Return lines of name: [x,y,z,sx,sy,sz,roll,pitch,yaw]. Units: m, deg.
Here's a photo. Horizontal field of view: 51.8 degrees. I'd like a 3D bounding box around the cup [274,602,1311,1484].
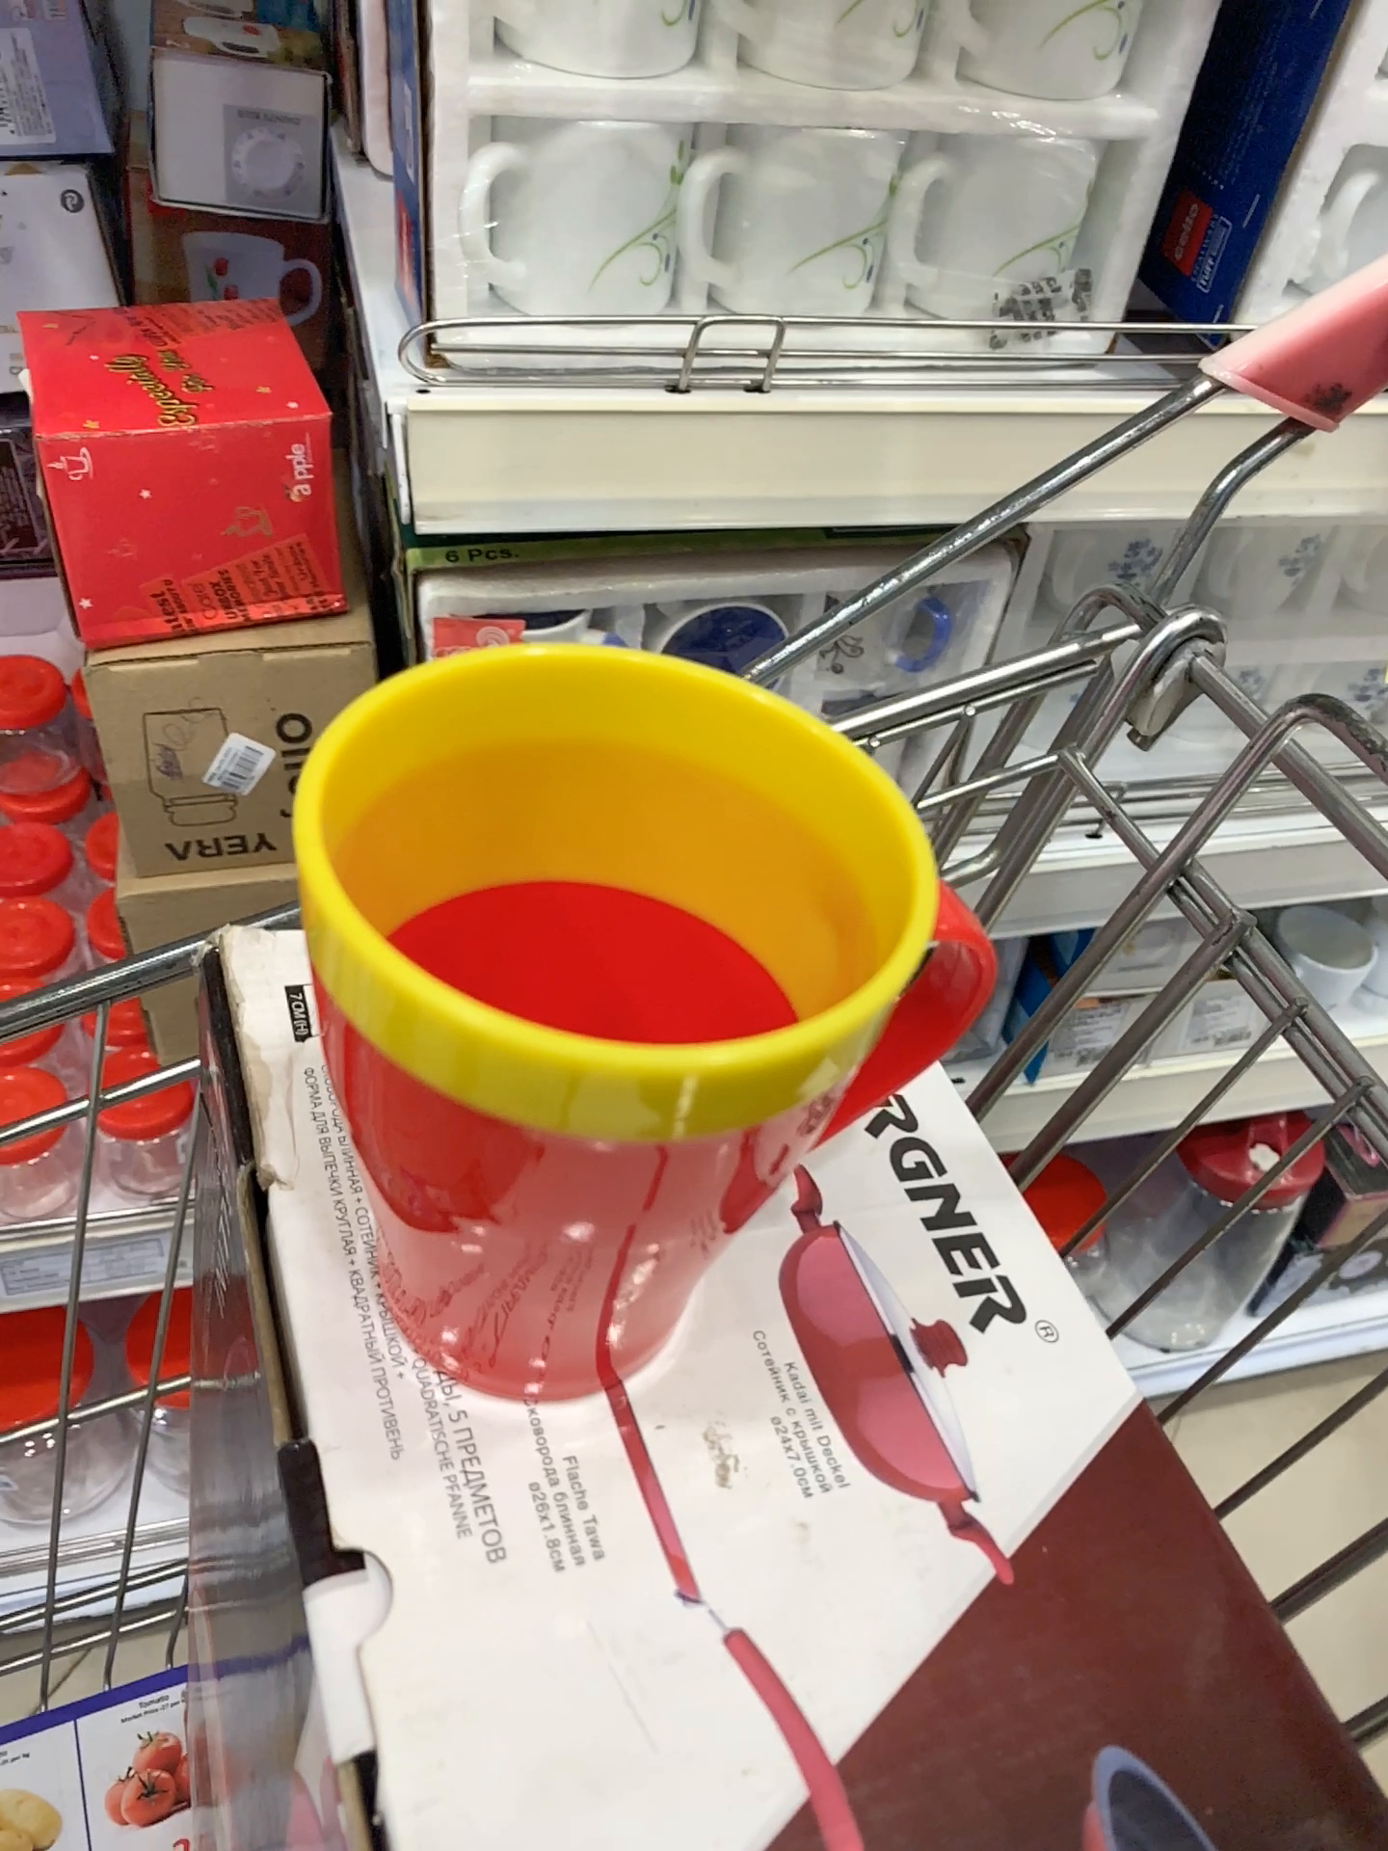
cup: [0.002,0.011,0.204,0.110,0.080,0.080,-6,46,-19]
